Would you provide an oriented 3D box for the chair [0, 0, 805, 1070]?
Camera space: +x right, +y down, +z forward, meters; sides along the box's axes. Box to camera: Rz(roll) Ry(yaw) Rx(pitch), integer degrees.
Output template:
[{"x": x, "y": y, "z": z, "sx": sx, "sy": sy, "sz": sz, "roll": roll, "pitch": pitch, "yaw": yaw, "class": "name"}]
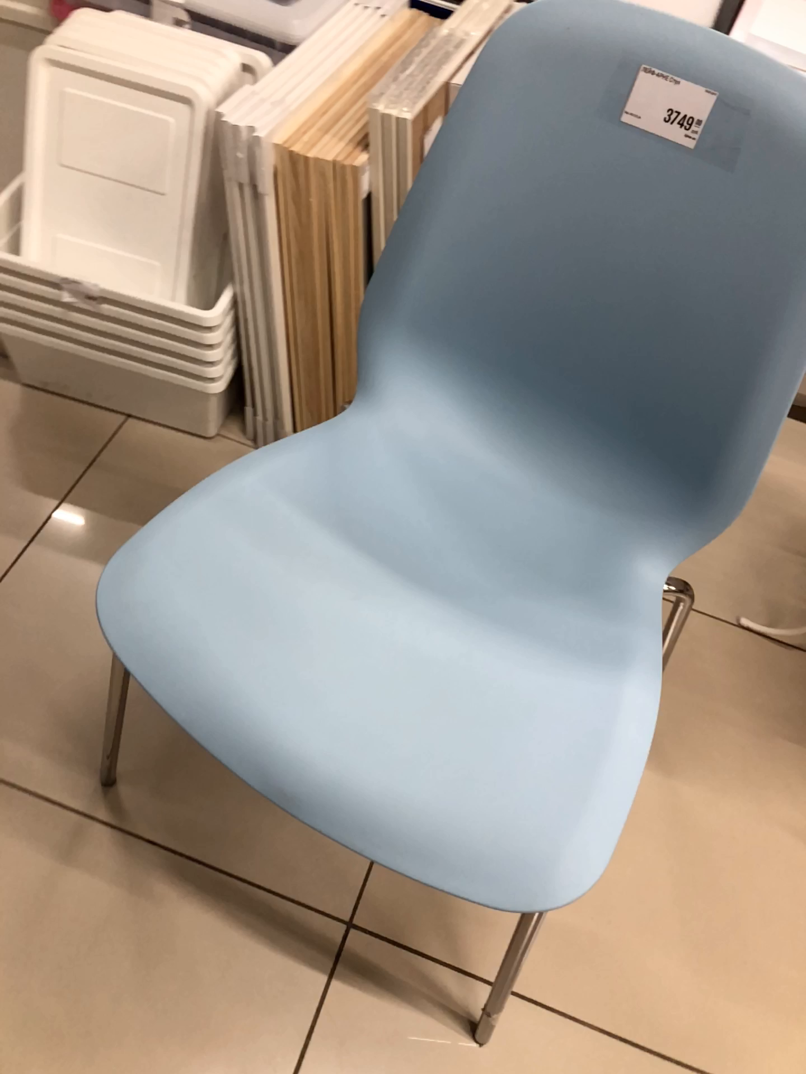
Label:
[{"x": 0.042, "y": 0.018, "z": 0.815, "sx": 0.560, "sy": 0.755, "sz": 0.543, "roll": 27, "pitch": 54, "yaw": 10, "class": "chair"}]
